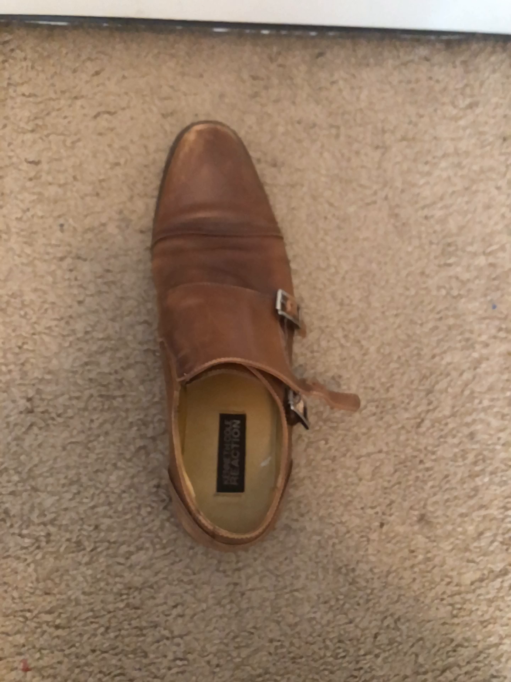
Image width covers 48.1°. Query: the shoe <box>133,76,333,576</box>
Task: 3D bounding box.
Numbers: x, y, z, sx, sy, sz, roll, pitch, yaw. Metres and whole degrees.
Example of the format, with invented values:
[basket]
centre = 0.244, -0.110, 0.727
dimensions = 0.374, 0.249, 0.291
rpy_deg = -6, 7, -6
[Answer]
[shoe]
centre = -0.023, -0.012, 0.382
dimensions = 0.099, 0.107, 0.286
rpy_deg = -2, 82, -9
